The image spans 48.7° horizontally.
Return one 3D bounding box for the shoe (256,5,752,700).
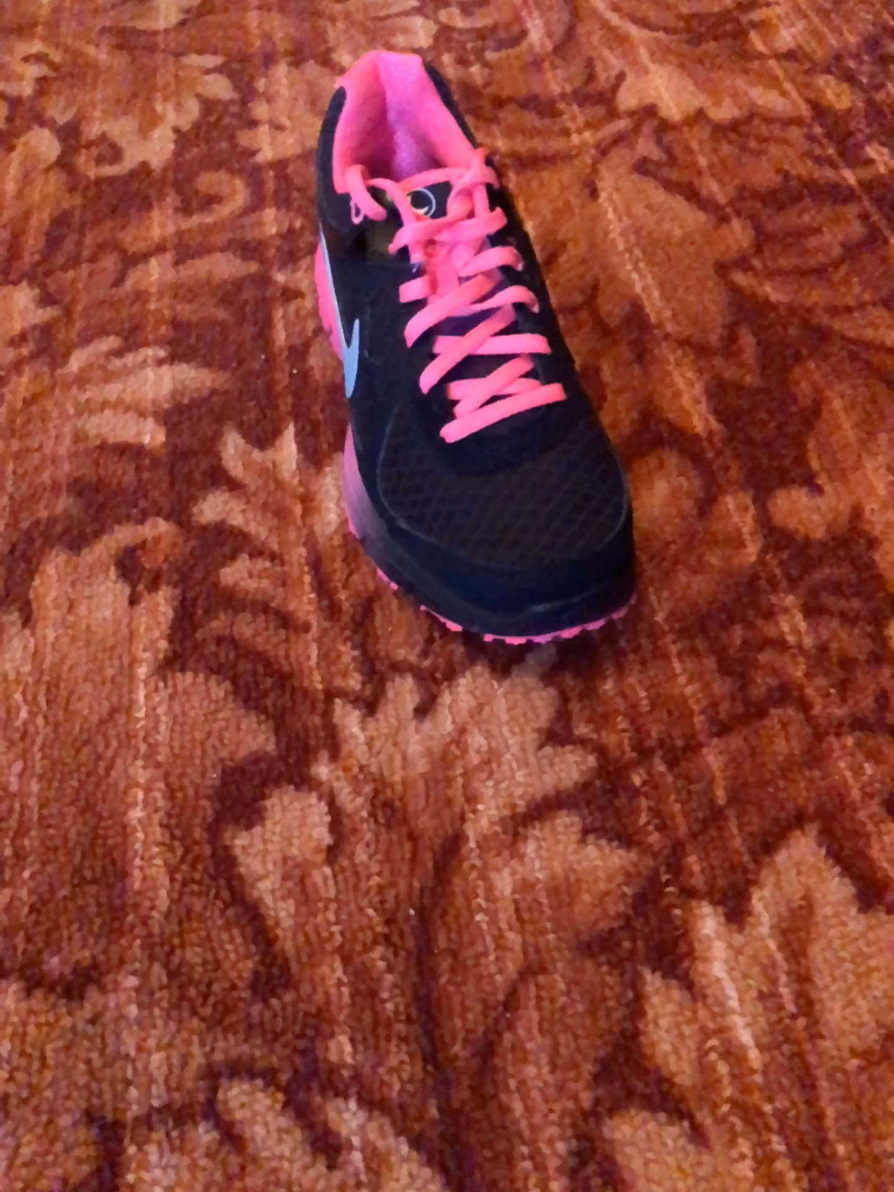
[{"bbox_3d":[0.004,-0.101,0.369,0.100,0.110,0.241,-12,56,-8],"label":"shoe"}]
